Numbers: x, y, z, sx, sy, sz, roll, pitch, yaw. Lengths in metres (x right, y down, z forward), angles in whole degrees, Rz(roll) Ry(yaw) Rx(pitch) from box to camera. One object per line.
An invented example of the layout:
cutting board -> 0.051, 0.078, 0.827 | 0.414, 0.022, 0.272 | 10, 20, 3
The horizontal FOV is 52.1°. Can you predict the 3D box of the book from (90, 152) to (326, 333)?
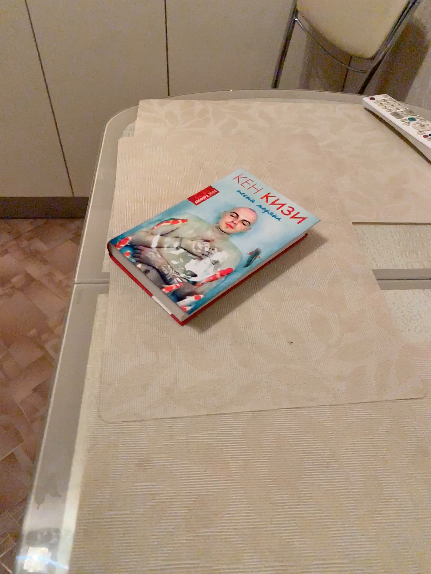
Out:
book -> -0.005, -0.064, 0.493 | 0.211, 0.040, 0.151 | -34, 59, -28
